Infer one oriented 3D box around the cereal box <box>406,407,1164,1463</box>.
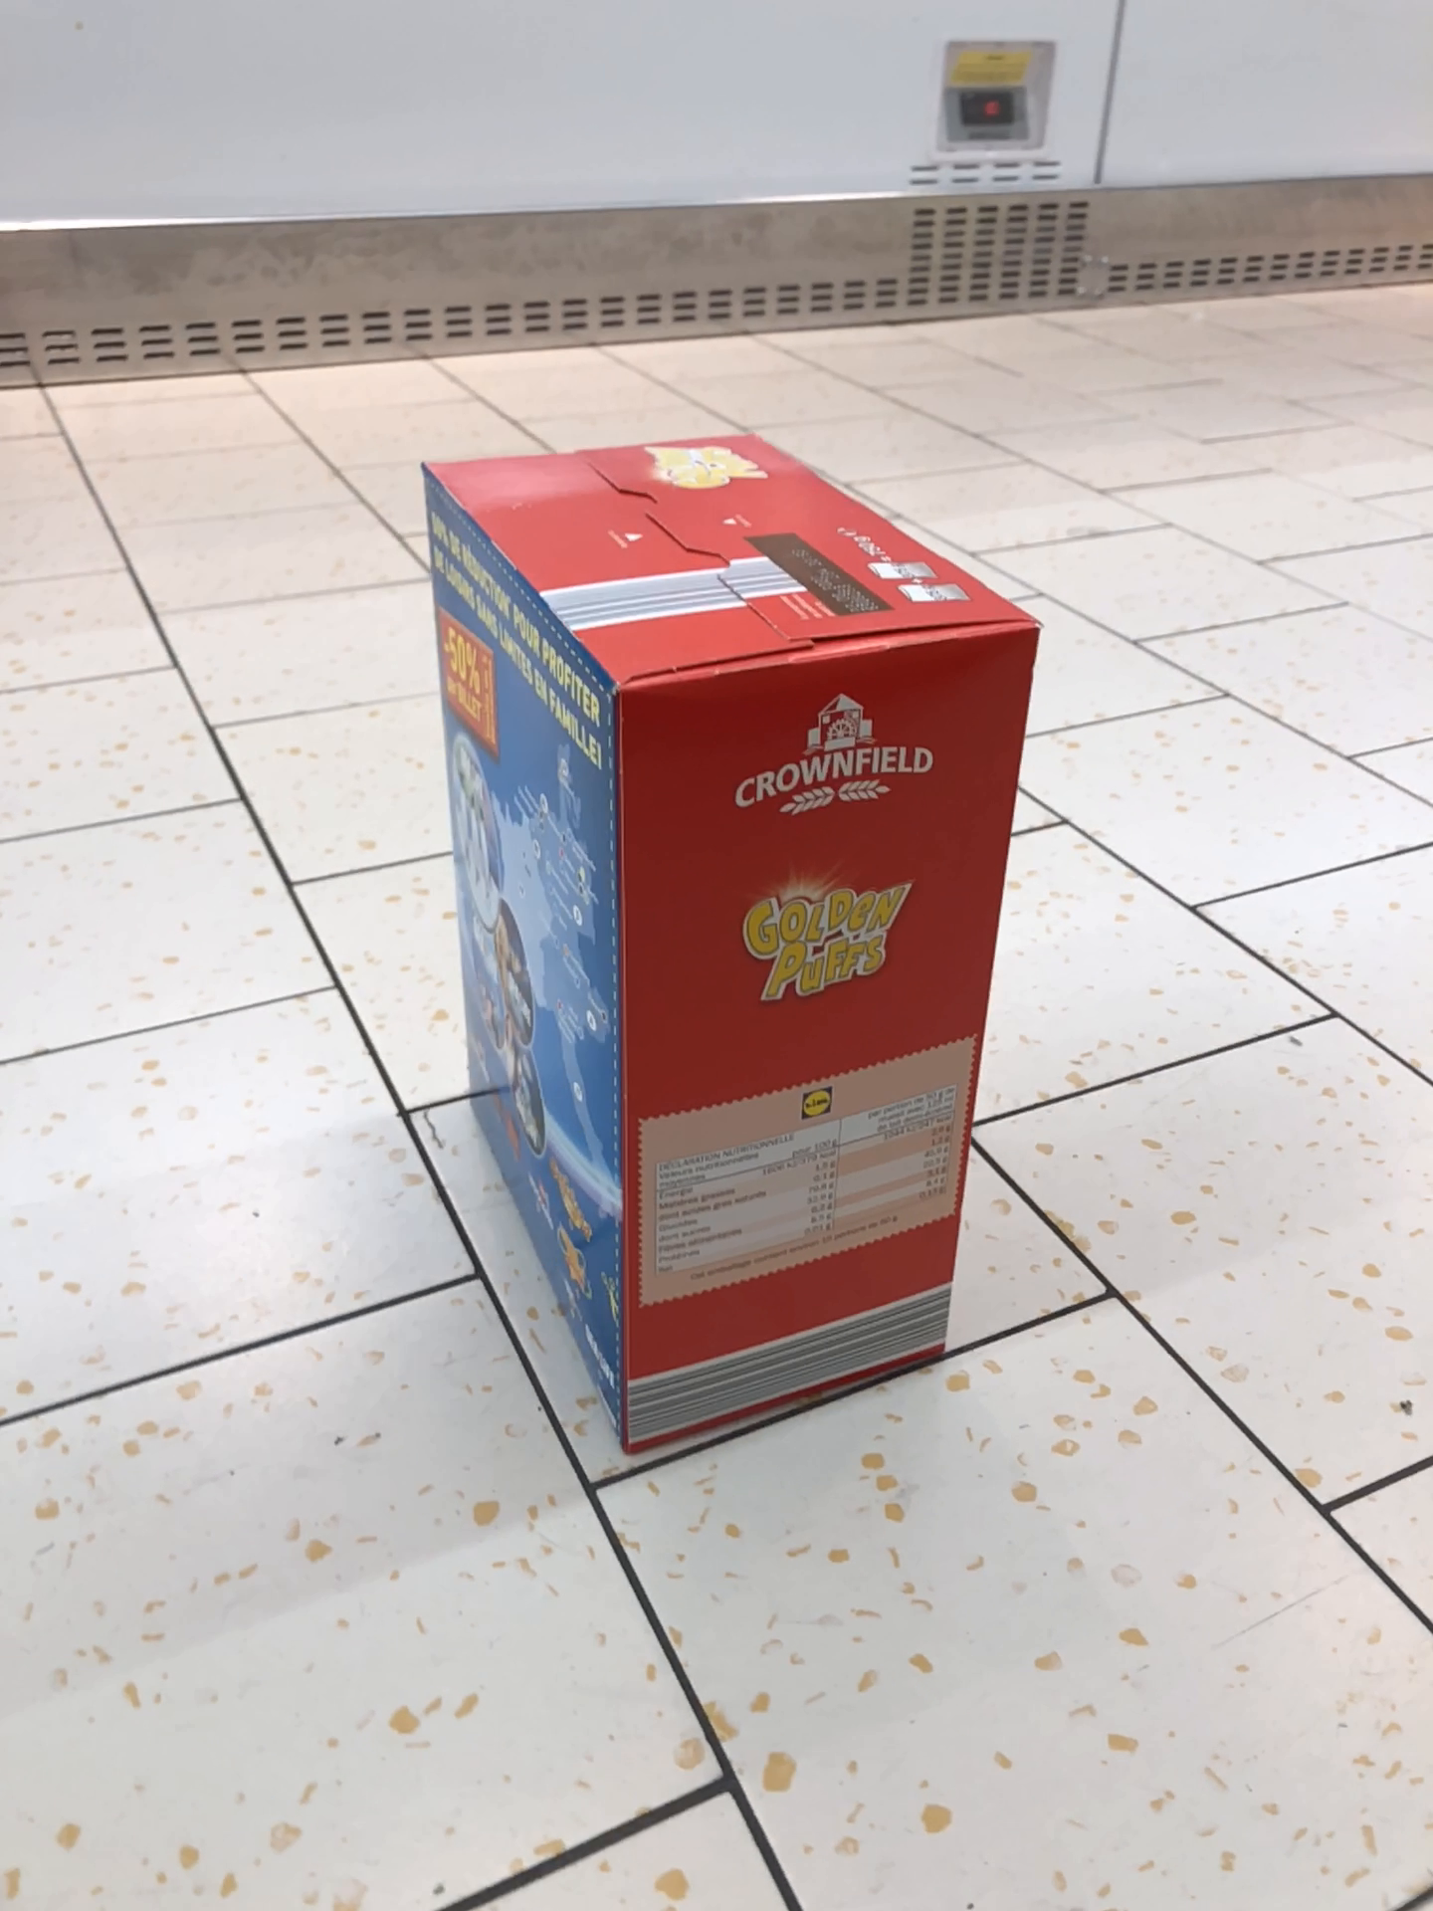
[{"bbox_3d":[0.003,-0.019,0.502,0.140,0.248,0.201,-11,34,-20],"label":"cereal box"}]
